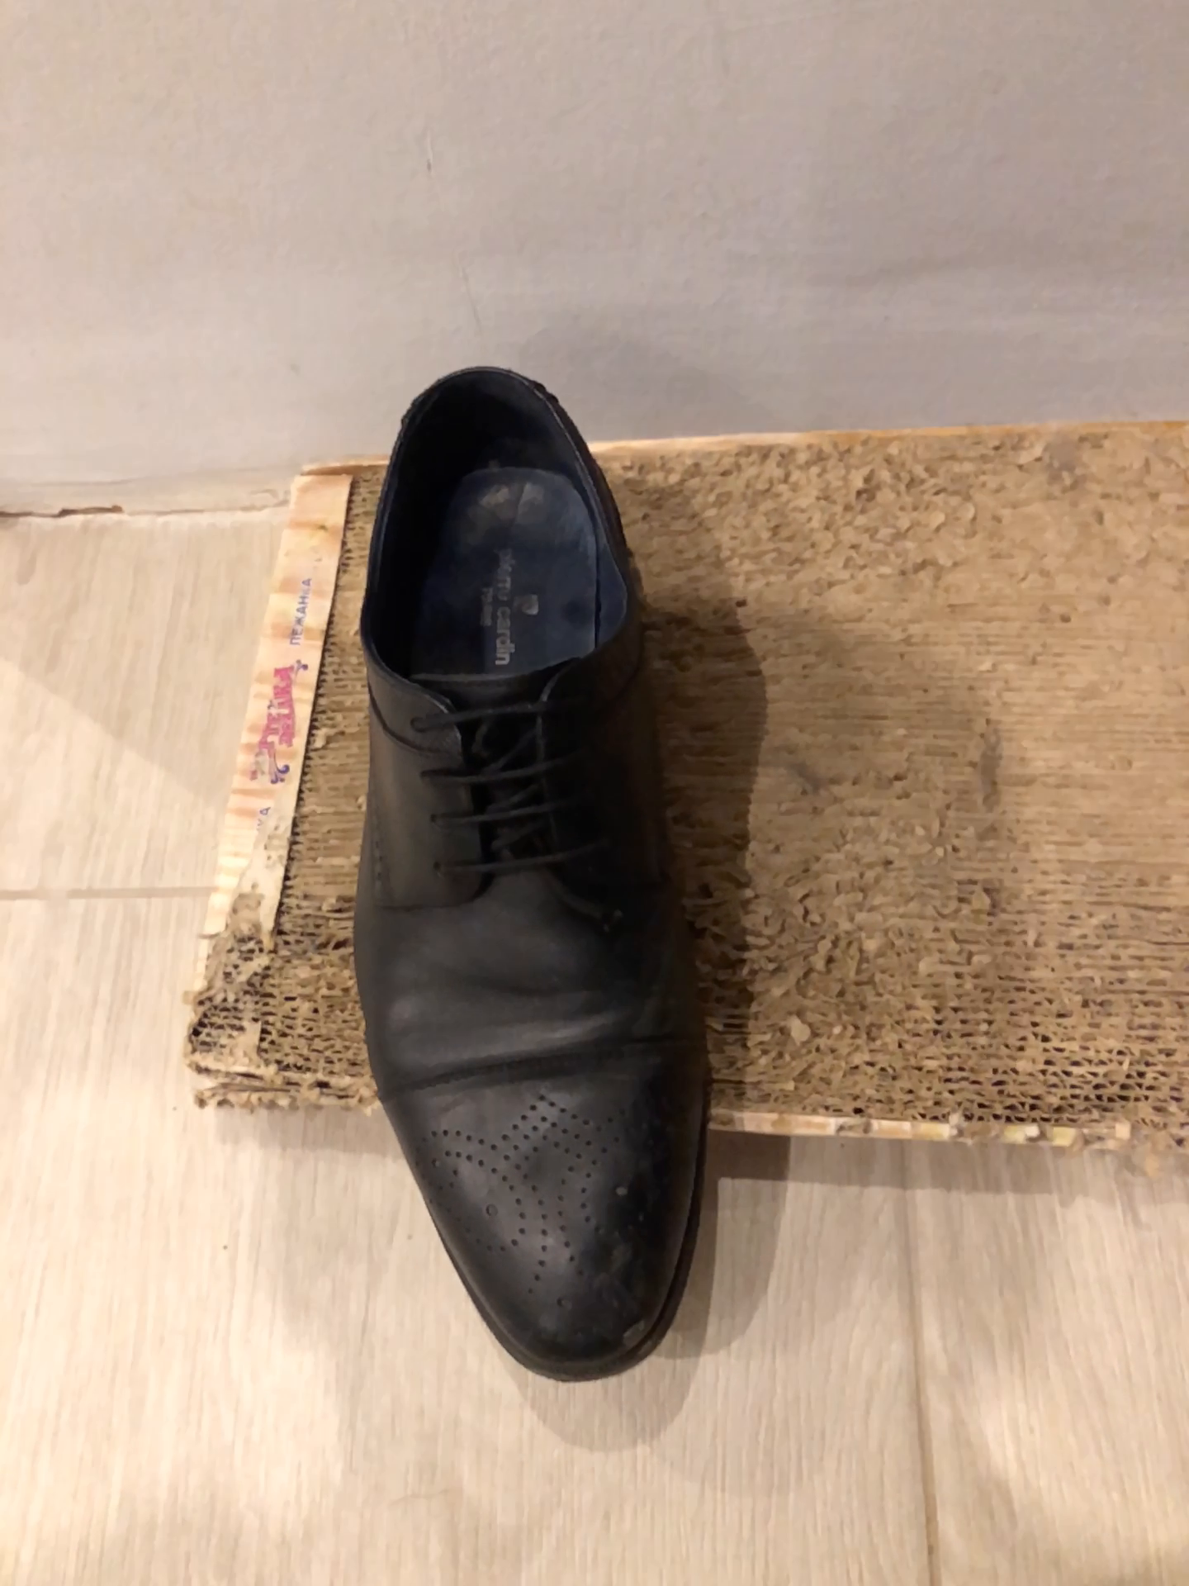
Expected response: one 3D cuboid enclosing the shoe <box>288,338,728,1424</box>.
[{"bbox_3d":[-0.027,0.019,0.377,0.090,0.100,0.281,-8,66,5],"label":"shoe"}]
